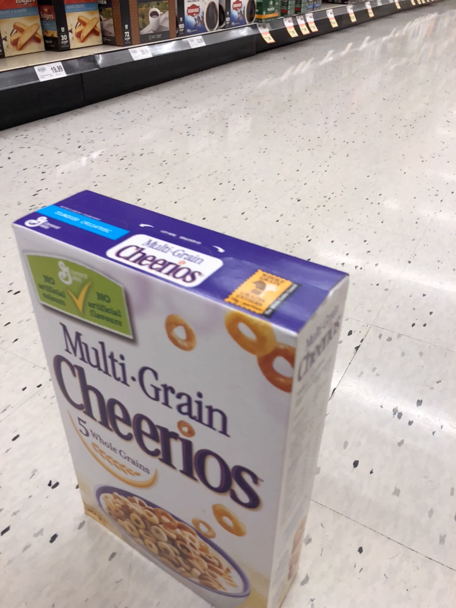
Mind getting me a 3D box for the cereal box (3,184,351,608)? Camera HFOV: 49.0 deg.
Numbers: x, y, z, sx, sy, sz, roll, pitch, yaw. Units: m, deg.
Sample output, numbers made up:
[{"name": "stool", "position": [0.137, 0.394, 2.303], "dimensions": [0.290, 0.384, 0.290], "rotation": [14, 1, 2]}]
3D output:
[{"name": "cereal box", "position": [-0.038, 0.092, 0.358], "dimensions": [0.190, 0.308, 0.060], "rotation": [21, 39, 26]}]
